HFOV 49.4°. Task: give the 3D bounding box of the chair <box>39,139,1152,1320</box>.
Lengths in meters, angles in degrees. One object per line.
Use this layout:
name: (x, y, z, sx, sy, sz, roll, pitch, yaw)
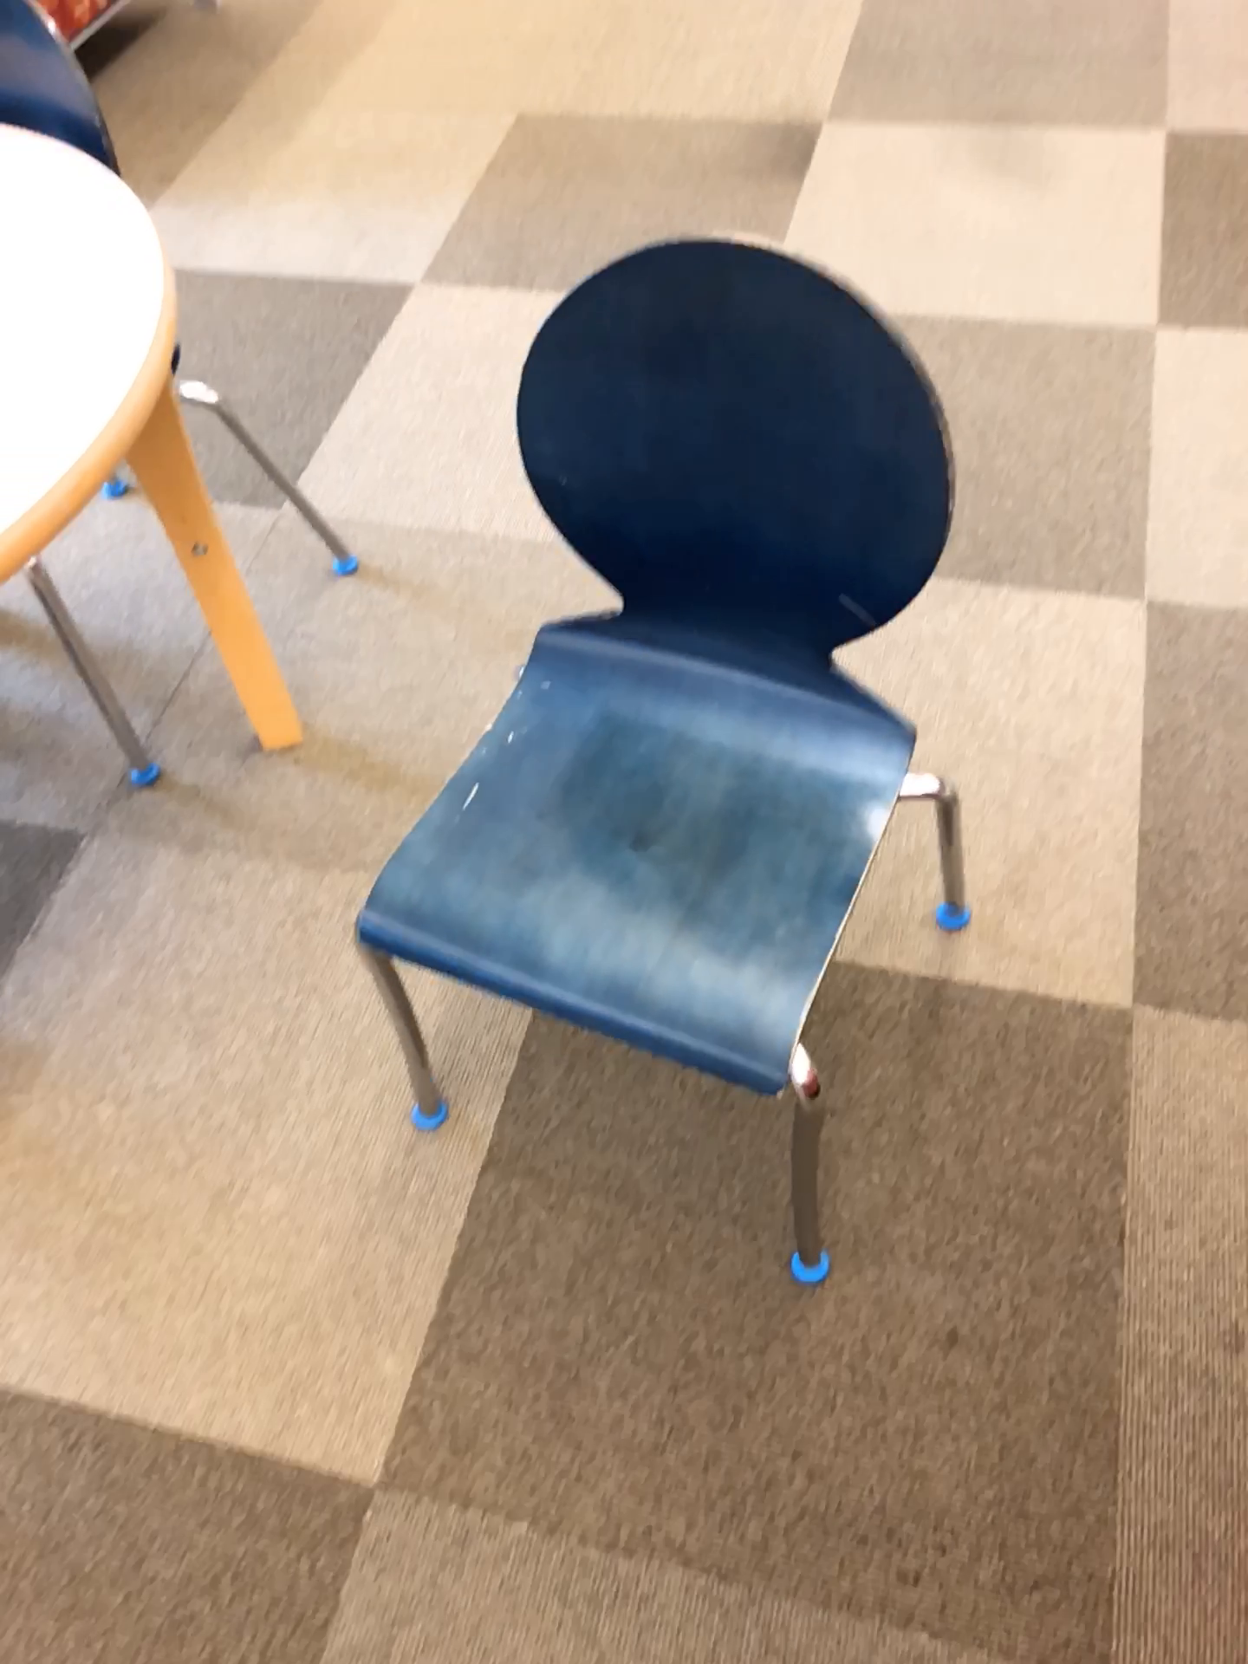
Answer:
chair: (0.032, -0.049, 1.067, 0.497, 0.699, 0.474, 17, 56, 18)
